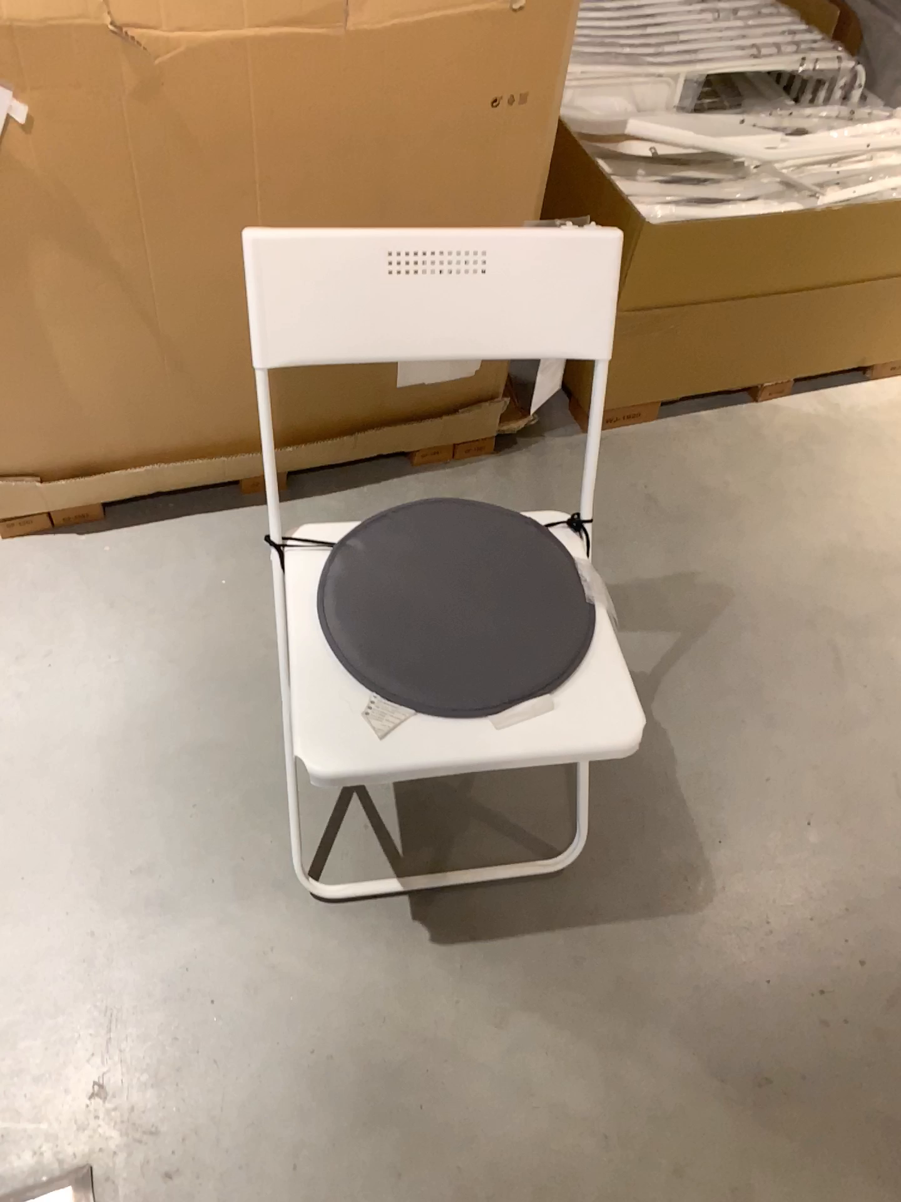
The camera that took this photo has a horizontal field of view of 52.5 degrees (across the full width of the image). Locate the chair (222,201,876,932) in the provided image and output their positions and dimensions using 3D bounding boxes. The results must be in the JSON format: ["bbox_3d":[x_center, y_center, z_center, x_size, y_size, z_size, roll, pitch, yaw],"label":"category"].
[{"bbox_3d":[0.017,0.004,1.095,0.490,0.738,0.481,-3,52,-9],"label":"chair"}]
